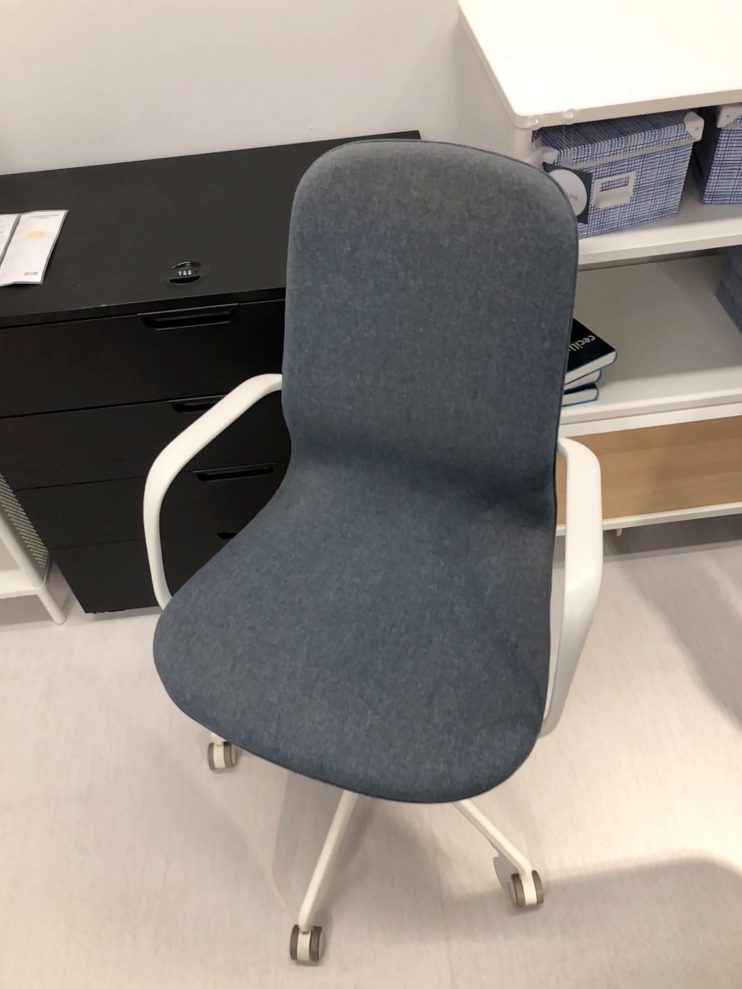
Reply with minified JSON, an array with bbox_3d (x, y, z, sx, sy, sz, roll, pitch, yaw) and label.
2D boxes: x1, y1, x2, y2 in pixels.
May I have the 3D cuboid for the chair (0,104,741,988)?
[{"bbox_3d":[-0.026,0.155,1.107,0.701,0.994,0.704,13,51,17],"label":"chair"}]
